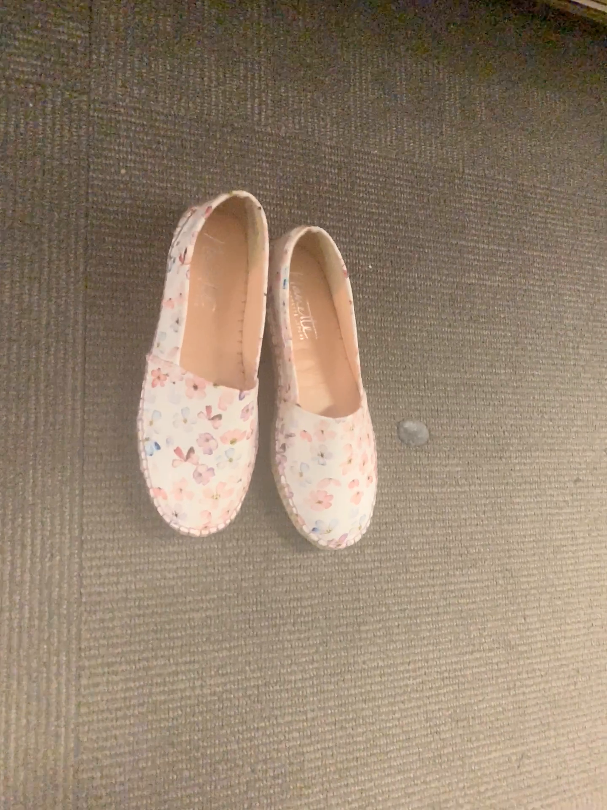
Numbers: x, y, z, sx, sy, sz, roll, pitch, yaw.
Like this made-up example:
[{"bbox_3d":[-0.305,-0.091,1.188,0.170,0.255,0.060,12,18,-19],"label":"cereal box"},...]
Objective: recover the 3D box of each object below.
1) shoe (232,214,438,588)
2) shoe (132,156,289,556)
[{"bbox_3d":[0.021,-0.006,0.485,0.092,0.080,0.263,-9,87,-22],"label":"shoe"},{"bbox_3d":[-0.069,-0.030,0.454,0.092,0.080,0.263,3,83,-21],"label":"shoe"}]
